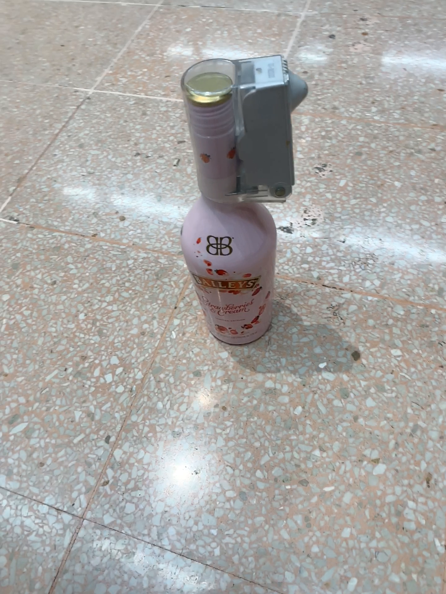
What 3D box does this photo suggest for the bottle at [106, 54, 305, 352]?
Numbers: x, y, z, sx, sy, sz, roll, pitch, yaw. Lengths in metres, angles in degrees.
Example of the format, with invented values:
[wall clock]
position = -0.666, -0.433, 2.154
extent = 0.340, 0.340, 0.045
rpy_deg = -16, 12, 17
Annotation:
[bottle]
position = 0.005, -0.051, 0.370
extent = 0.103, 0.254, 0.073
rpy_deg = 6, 58, 11
